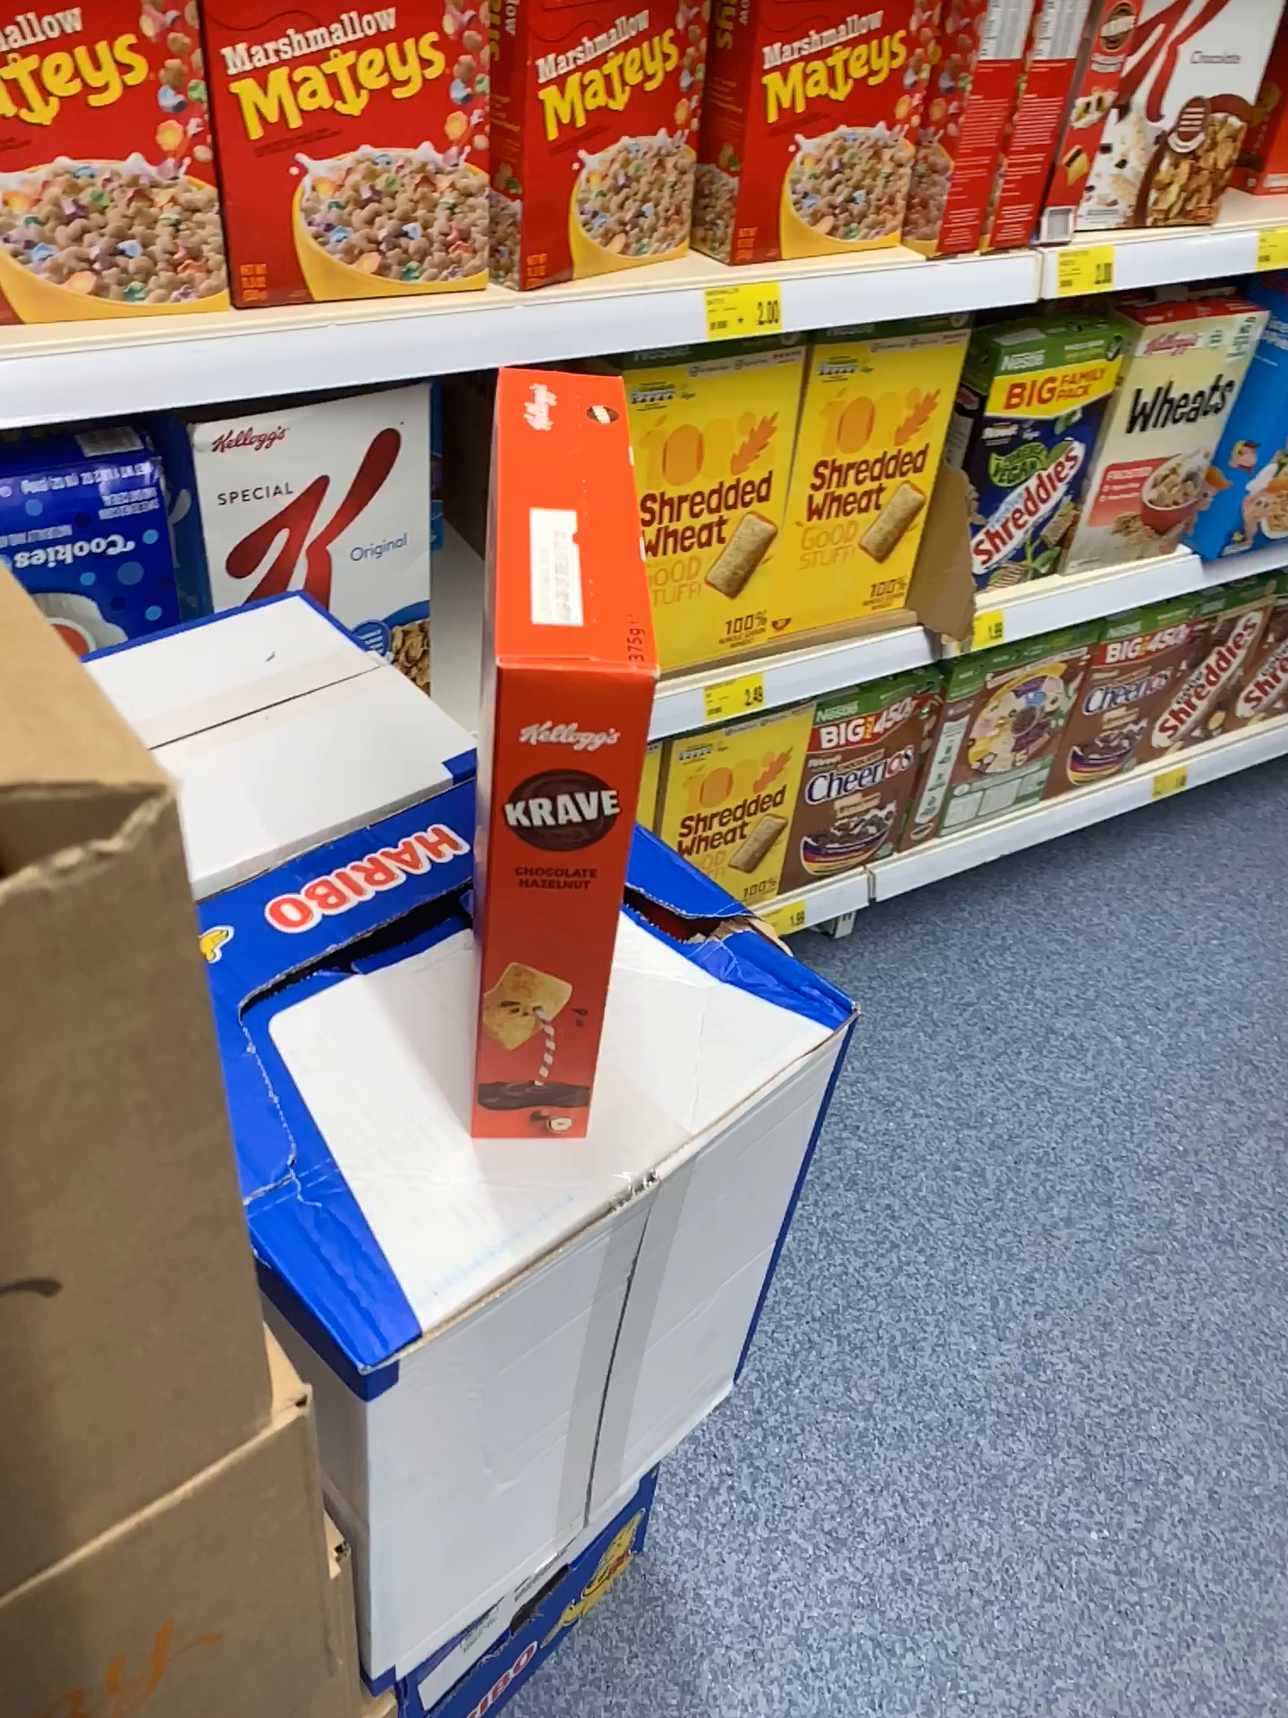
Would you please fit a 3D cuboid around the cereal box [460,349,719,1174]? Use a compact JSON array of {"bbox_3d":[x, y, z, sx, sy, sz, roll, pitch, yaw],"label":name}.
[{"bbox_3d":[-0.033,-0.033,0.503,0.060,0.238,0.202,2,43,-9],"label":"cereal box"}]
